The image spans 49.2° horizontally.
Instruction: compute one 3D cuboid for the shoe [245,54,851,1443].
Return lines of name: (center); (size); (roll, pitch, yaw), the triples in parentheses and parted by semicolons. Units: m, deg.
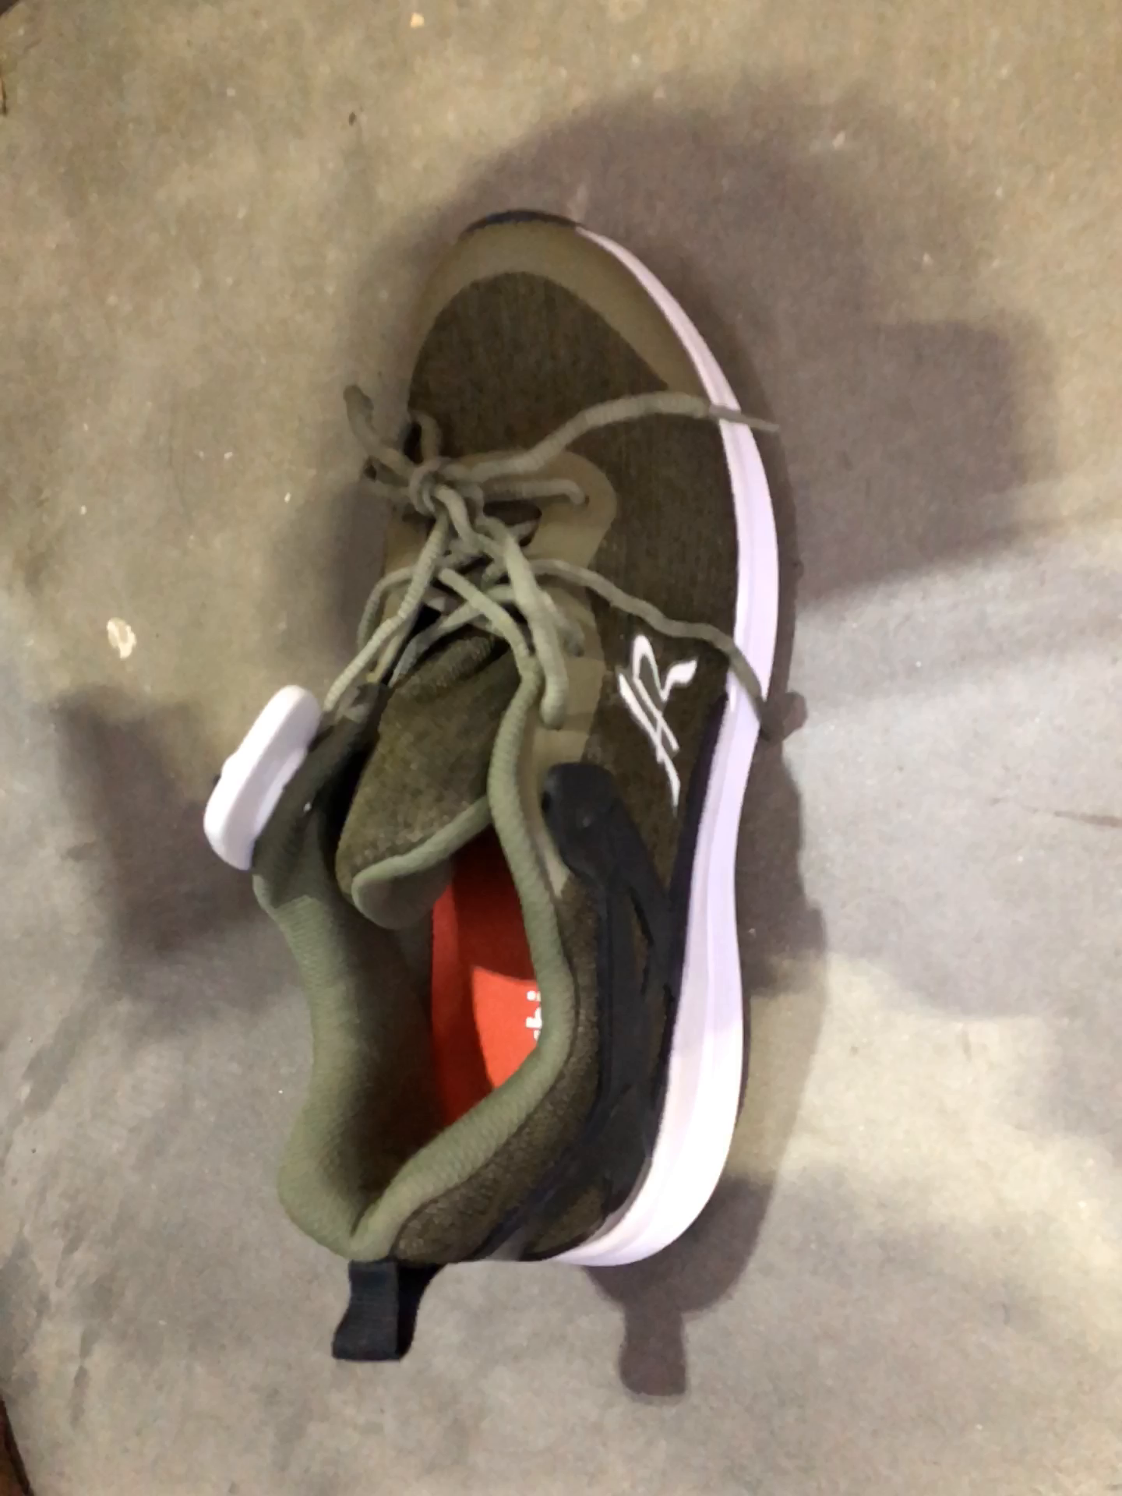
shoe: (-0.003, 0.000, 0.327); (0.120, 0.100, 0.290); (-5, 83, 28)
